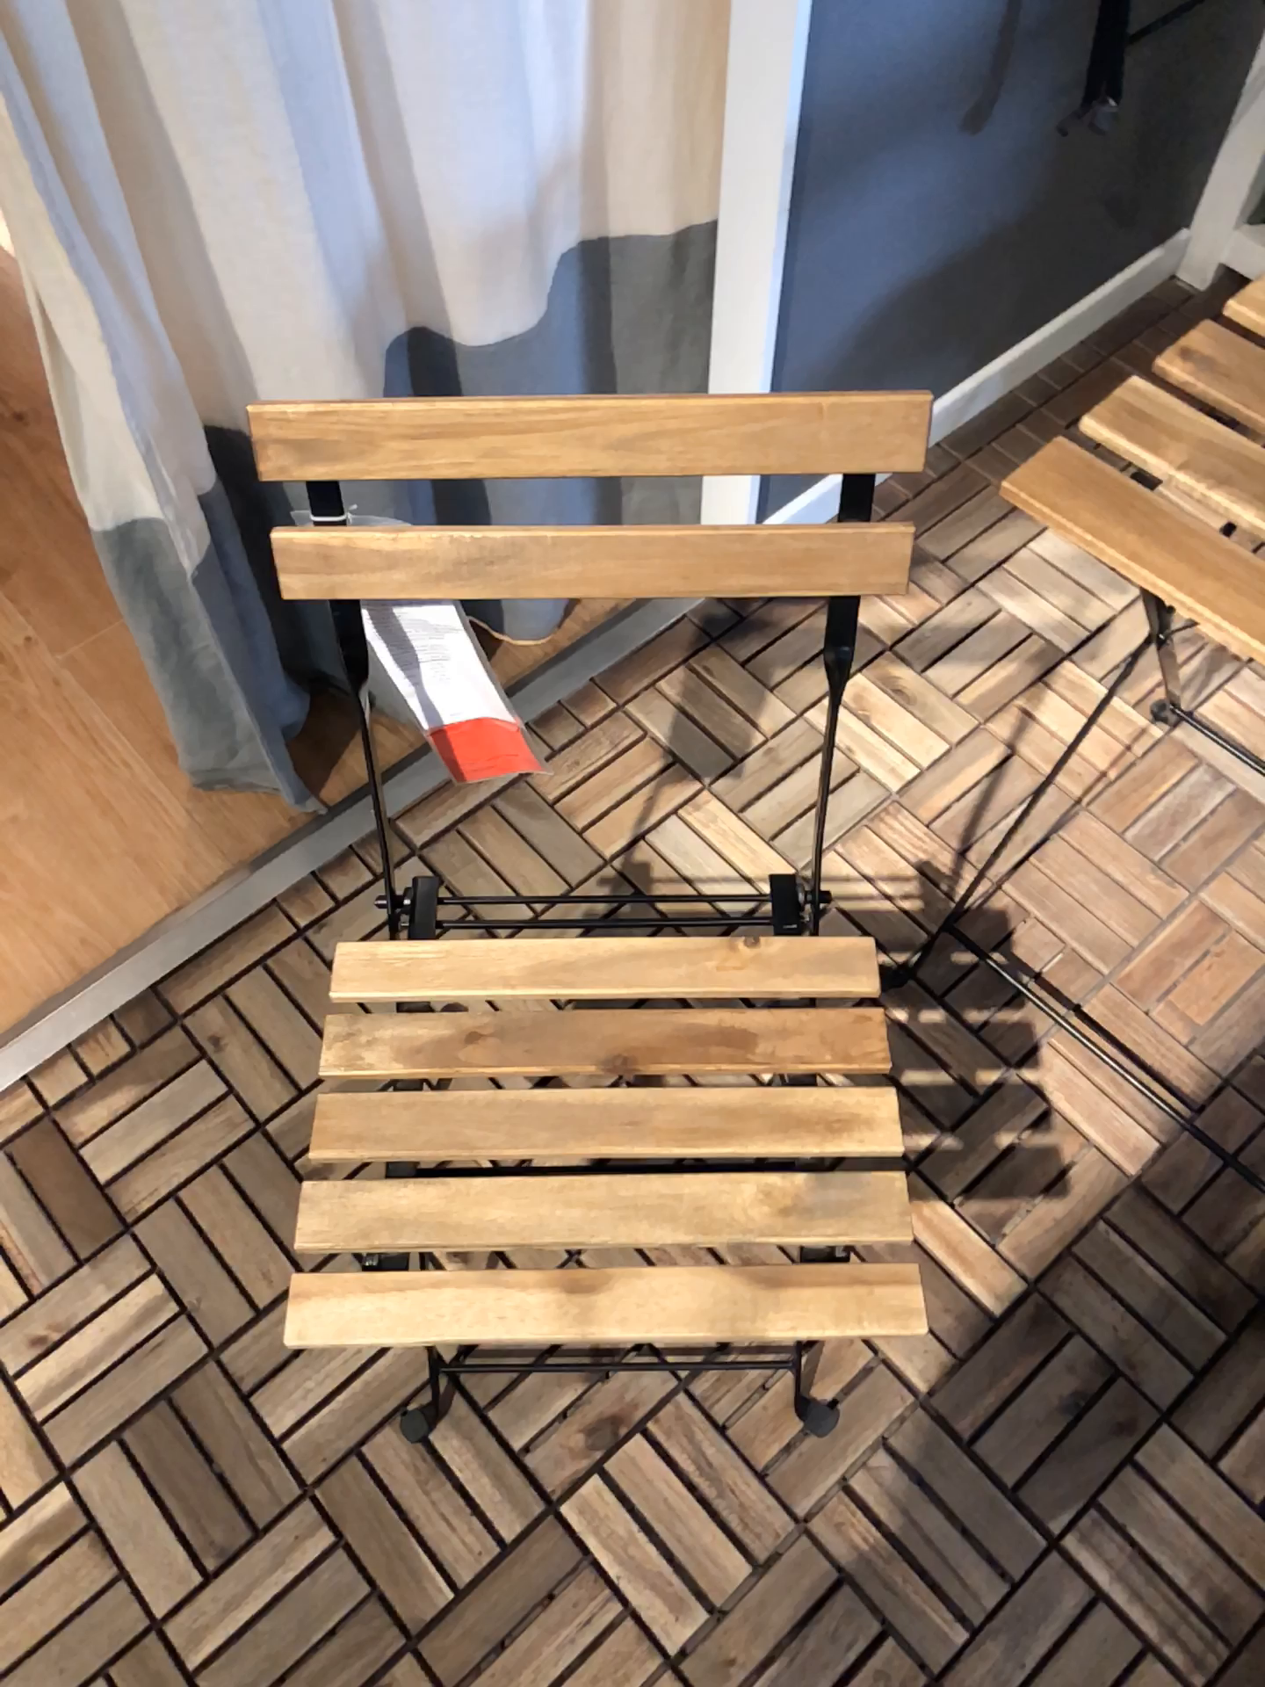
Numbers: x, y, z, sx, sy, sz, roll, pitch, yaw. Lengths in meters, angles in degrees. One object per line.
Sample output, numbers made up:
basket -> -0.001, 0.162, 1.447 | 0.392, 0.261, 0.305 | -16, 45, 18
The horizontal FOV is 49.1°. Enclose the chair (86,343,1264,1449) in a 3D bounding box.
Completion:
chair -> 0.022, 0.114, 0.914 | 0.430, 0.727, 0.432 | 0, 59, 0
